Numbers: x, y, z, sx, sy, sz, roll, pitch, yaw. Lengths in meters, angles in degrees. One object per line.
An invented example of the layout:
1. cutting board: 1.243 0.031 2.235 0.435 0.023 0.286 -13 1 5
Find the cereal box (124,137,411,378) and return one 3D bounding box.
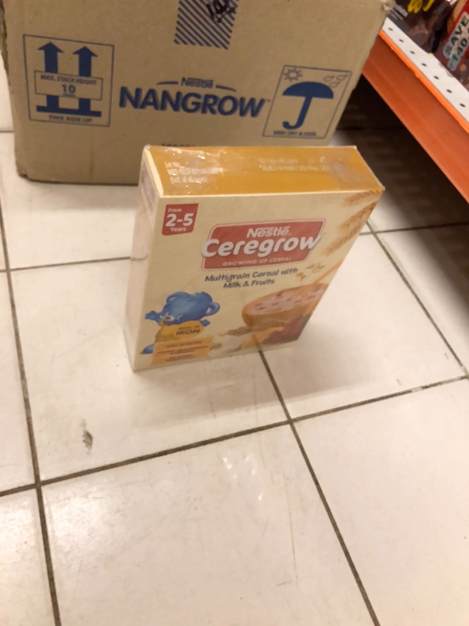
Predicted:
1. cereal box: 0.009 -0.034 0.388 0.160 0.189 0.050 -8 56 -22
